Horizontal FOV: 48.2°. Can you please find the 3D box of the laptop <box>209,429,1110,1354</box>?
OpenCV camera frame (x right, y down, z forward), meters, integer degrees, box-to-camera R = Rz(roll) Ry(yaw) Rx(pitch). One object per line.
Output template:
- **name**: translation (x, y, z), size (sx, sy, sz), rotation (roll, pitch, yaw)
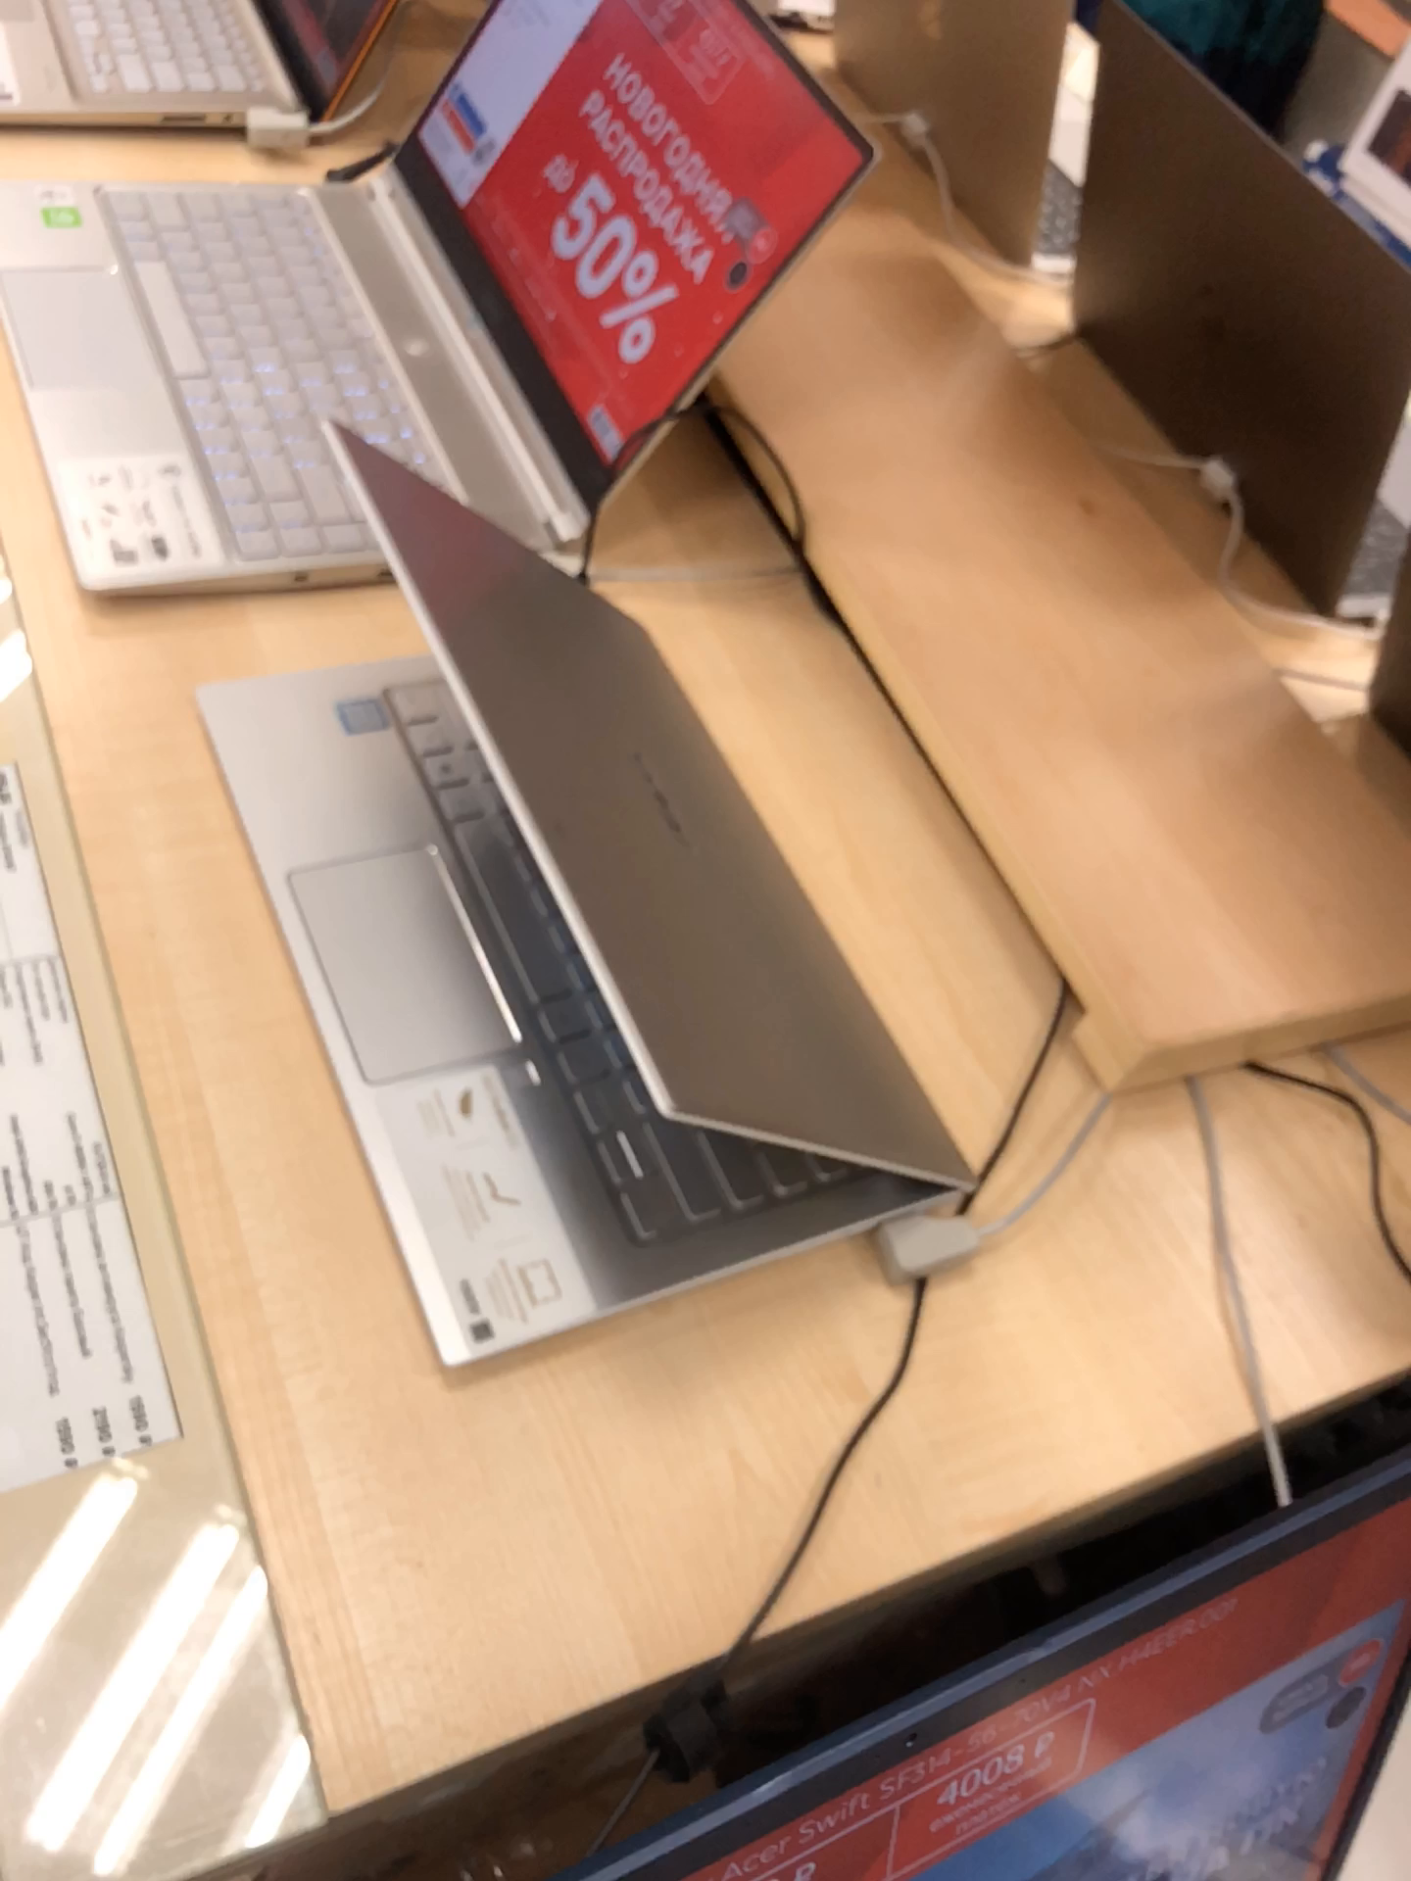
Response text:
- **laptop**: translation (-0.041, -0.042, 0.569), size (0.197, 0.119, 0.309), rotation (-11, 53, -26)
